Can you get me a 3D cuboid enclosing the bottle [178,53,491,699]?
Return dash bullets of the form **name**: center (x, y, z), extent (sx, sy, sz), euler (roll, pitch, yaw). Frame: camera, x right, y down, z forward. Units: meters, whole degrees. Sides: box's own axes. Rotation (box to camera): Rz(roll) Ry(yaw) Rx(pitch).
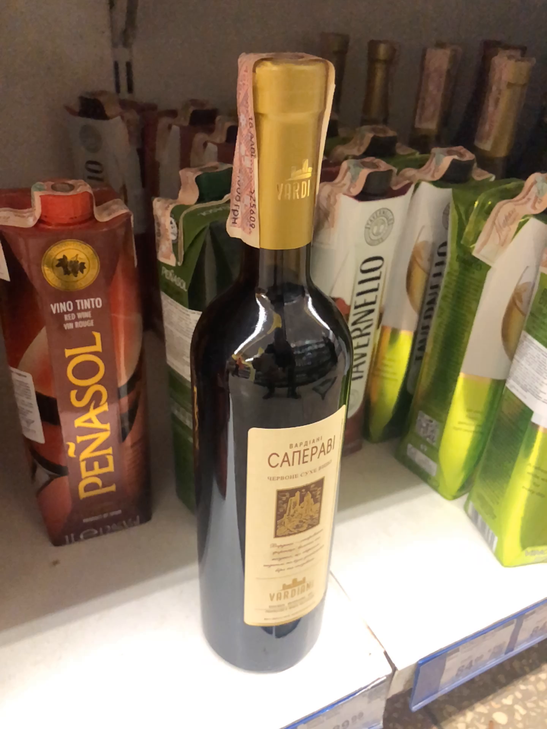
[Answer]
- **bottle**: center (0.007, 0.022, 0.274), extent (0.080, 0.281, 0.070), euler (-10, 34, -23)
